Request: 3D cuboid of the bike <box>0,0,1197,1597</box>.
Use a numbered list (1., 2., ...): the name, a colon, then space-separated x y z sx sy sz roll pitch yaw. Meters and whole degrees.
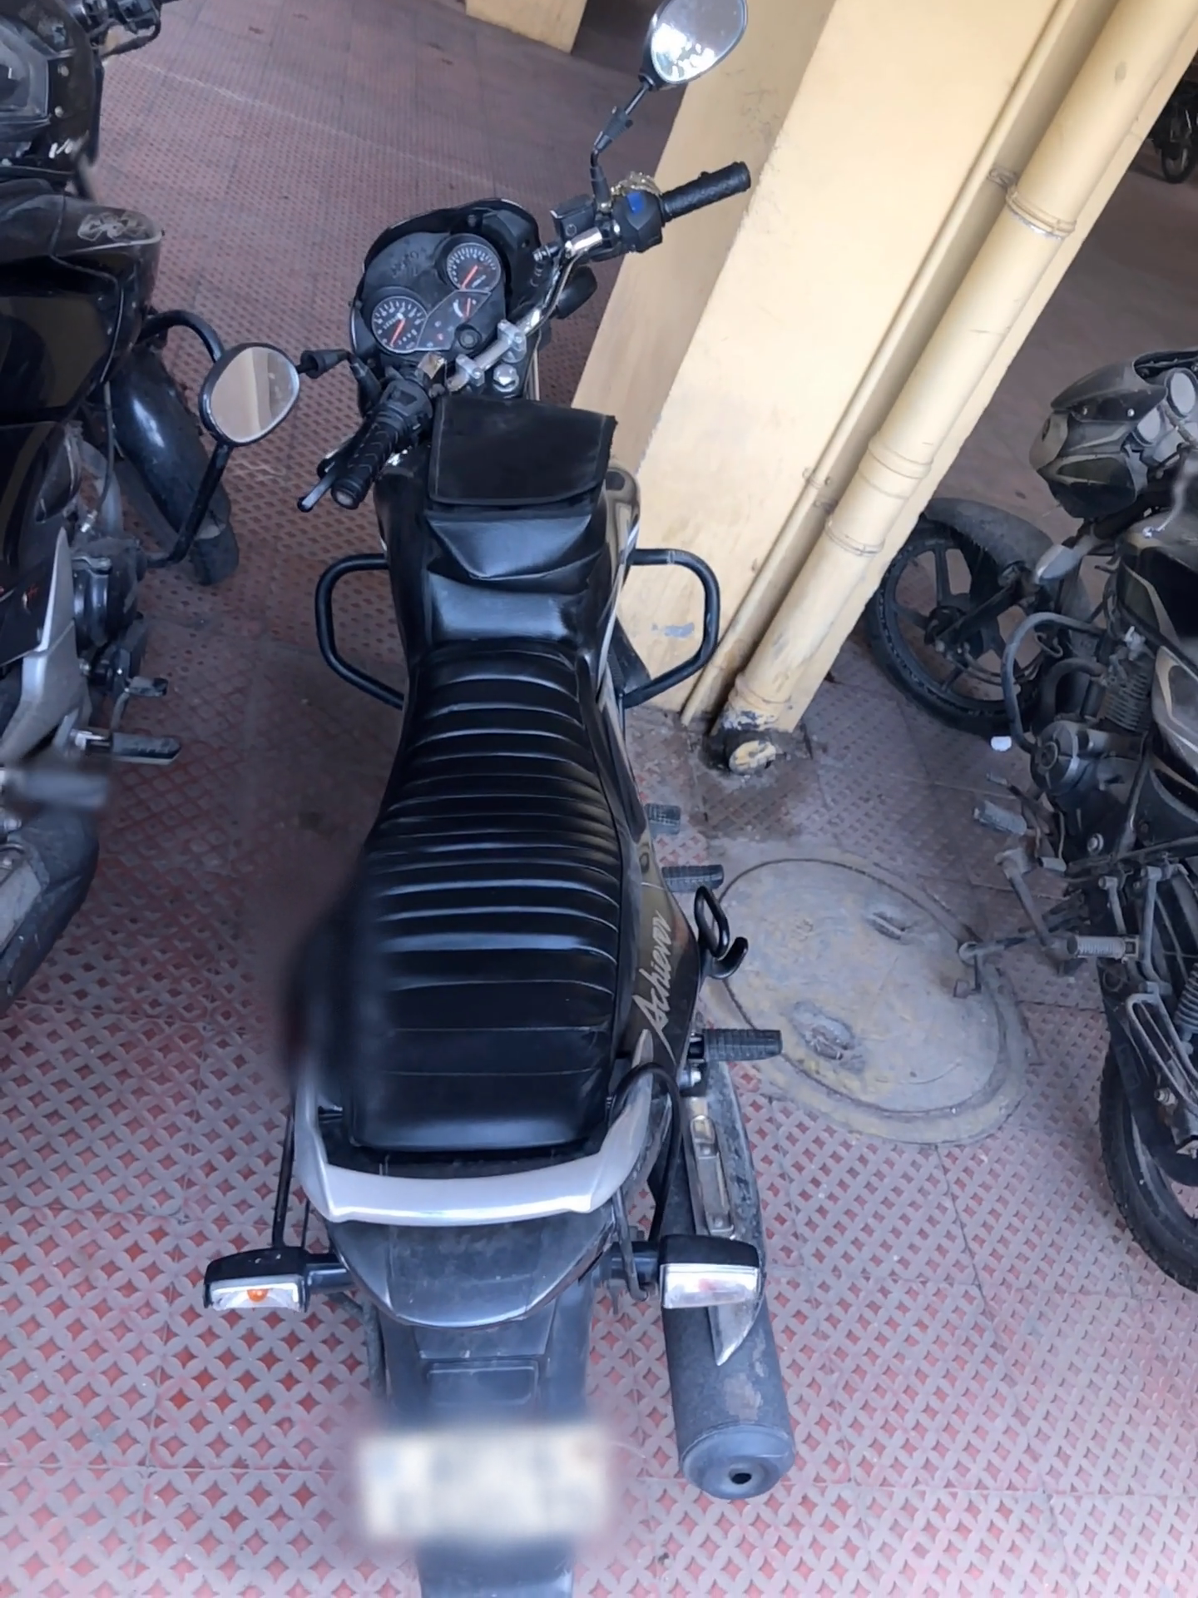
1. bike: -0.267 -0.177 1.632 0.732 1.125 1.767 8 41 -21
